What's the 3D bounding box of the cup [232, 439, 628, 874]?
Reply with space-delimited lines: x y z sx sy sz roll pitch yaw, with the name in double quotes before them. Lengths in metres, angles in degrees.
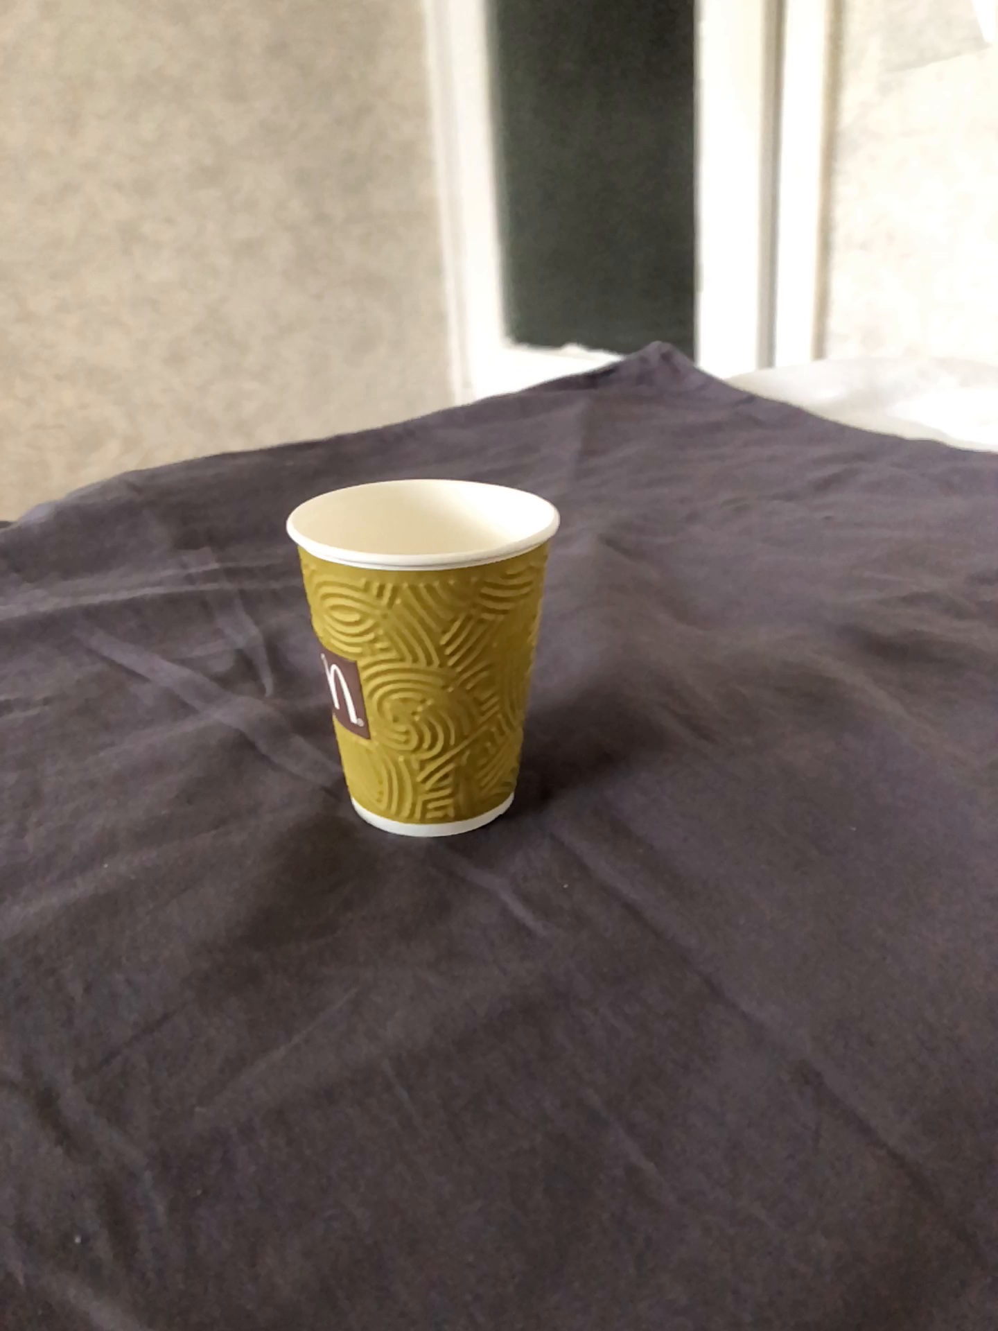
"cup" -0.027 -0.012 0.370 0.098 0.101 0.108 0 23 0
